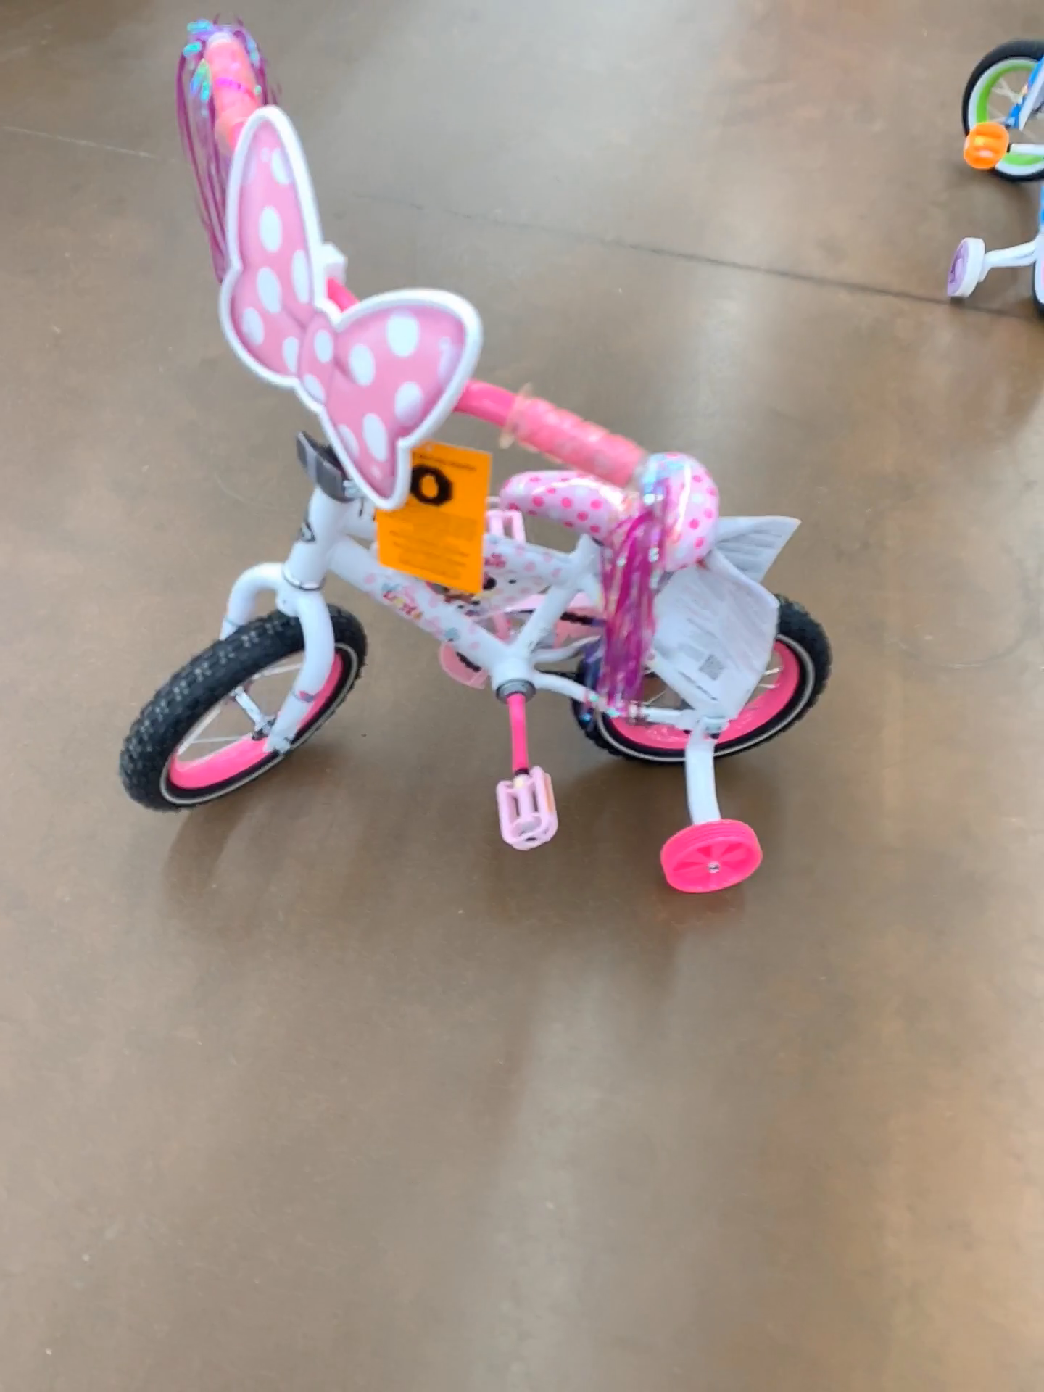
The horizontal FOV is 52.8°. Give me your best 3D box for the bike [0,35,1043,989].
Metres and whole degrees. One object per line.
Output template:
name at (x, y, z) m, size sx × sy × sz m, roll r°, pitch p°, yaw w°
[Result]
bike at (-0.029, -0.151, 0.996) m, size 0.724 × 0.648 × 0.503 m, roll -8°, pitch 51°, yaw -10°
